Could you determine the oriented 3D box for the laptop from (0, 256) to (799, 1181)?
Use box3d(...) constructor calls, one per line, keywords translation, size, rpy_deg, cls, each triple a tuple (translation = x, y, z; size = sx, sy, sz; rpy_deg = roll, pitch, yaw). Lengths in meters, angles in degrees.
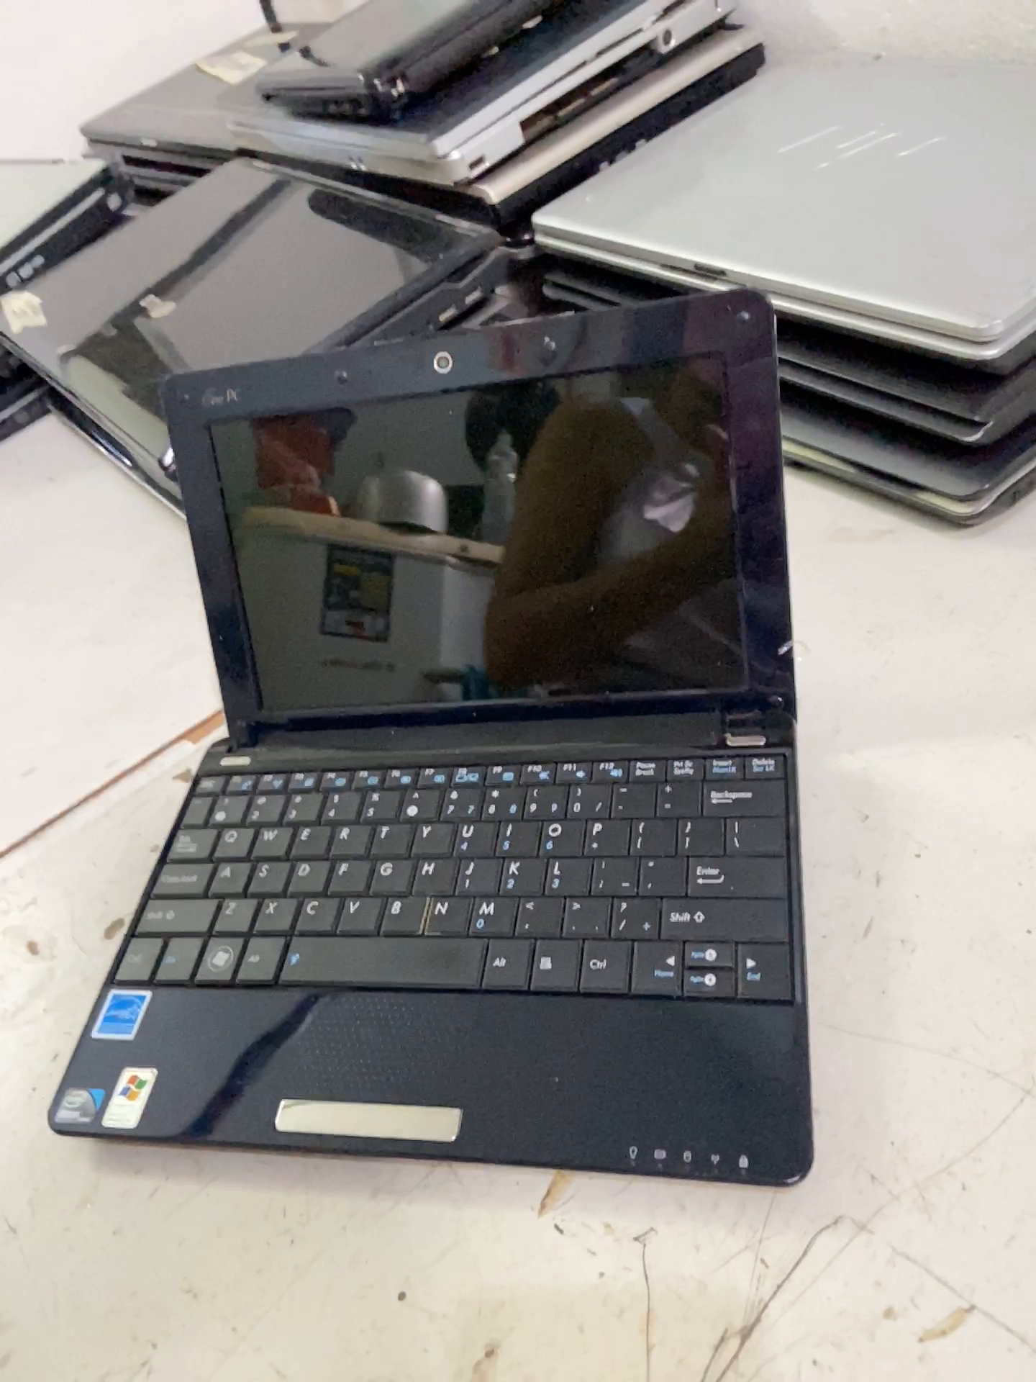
box3d(translation=(-0.038, -0.002, 0.387), size=(0.260, 0.133, 0.274), rpy_deg=(-4, 47, 17), cls="laptop")
